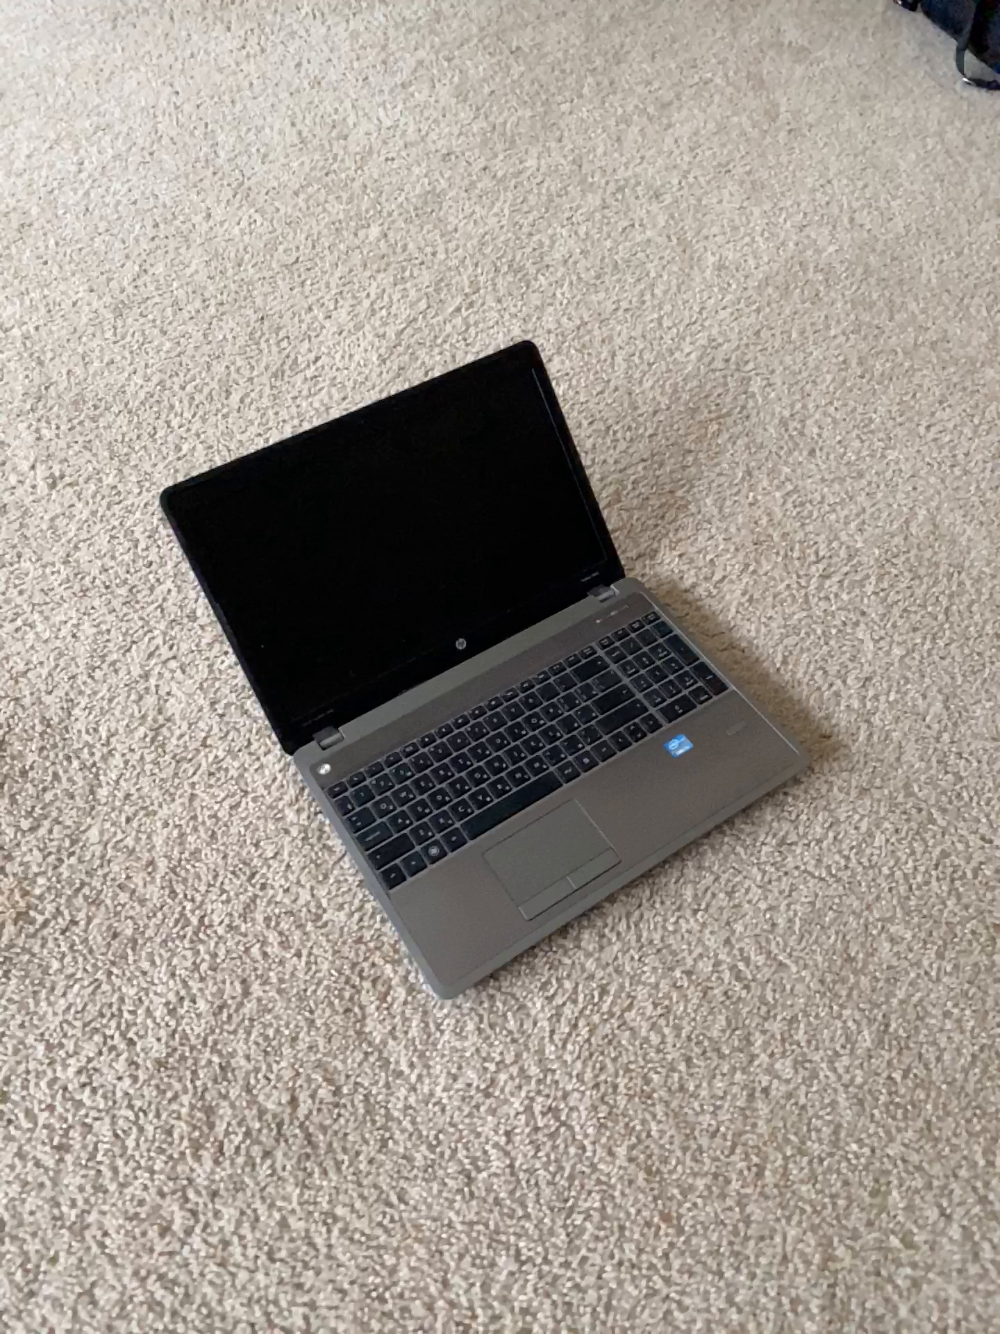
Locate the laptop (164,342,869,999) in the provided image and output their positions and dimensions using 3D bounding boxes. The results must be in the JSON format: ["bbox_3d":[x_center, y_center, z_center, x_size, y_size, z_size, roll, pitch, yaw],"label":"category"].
[{"bbox_3d":[-0.005,-0.030,0.858,0.375,0.162,0.436,-28,59,-19],"label":"laptop"}]
